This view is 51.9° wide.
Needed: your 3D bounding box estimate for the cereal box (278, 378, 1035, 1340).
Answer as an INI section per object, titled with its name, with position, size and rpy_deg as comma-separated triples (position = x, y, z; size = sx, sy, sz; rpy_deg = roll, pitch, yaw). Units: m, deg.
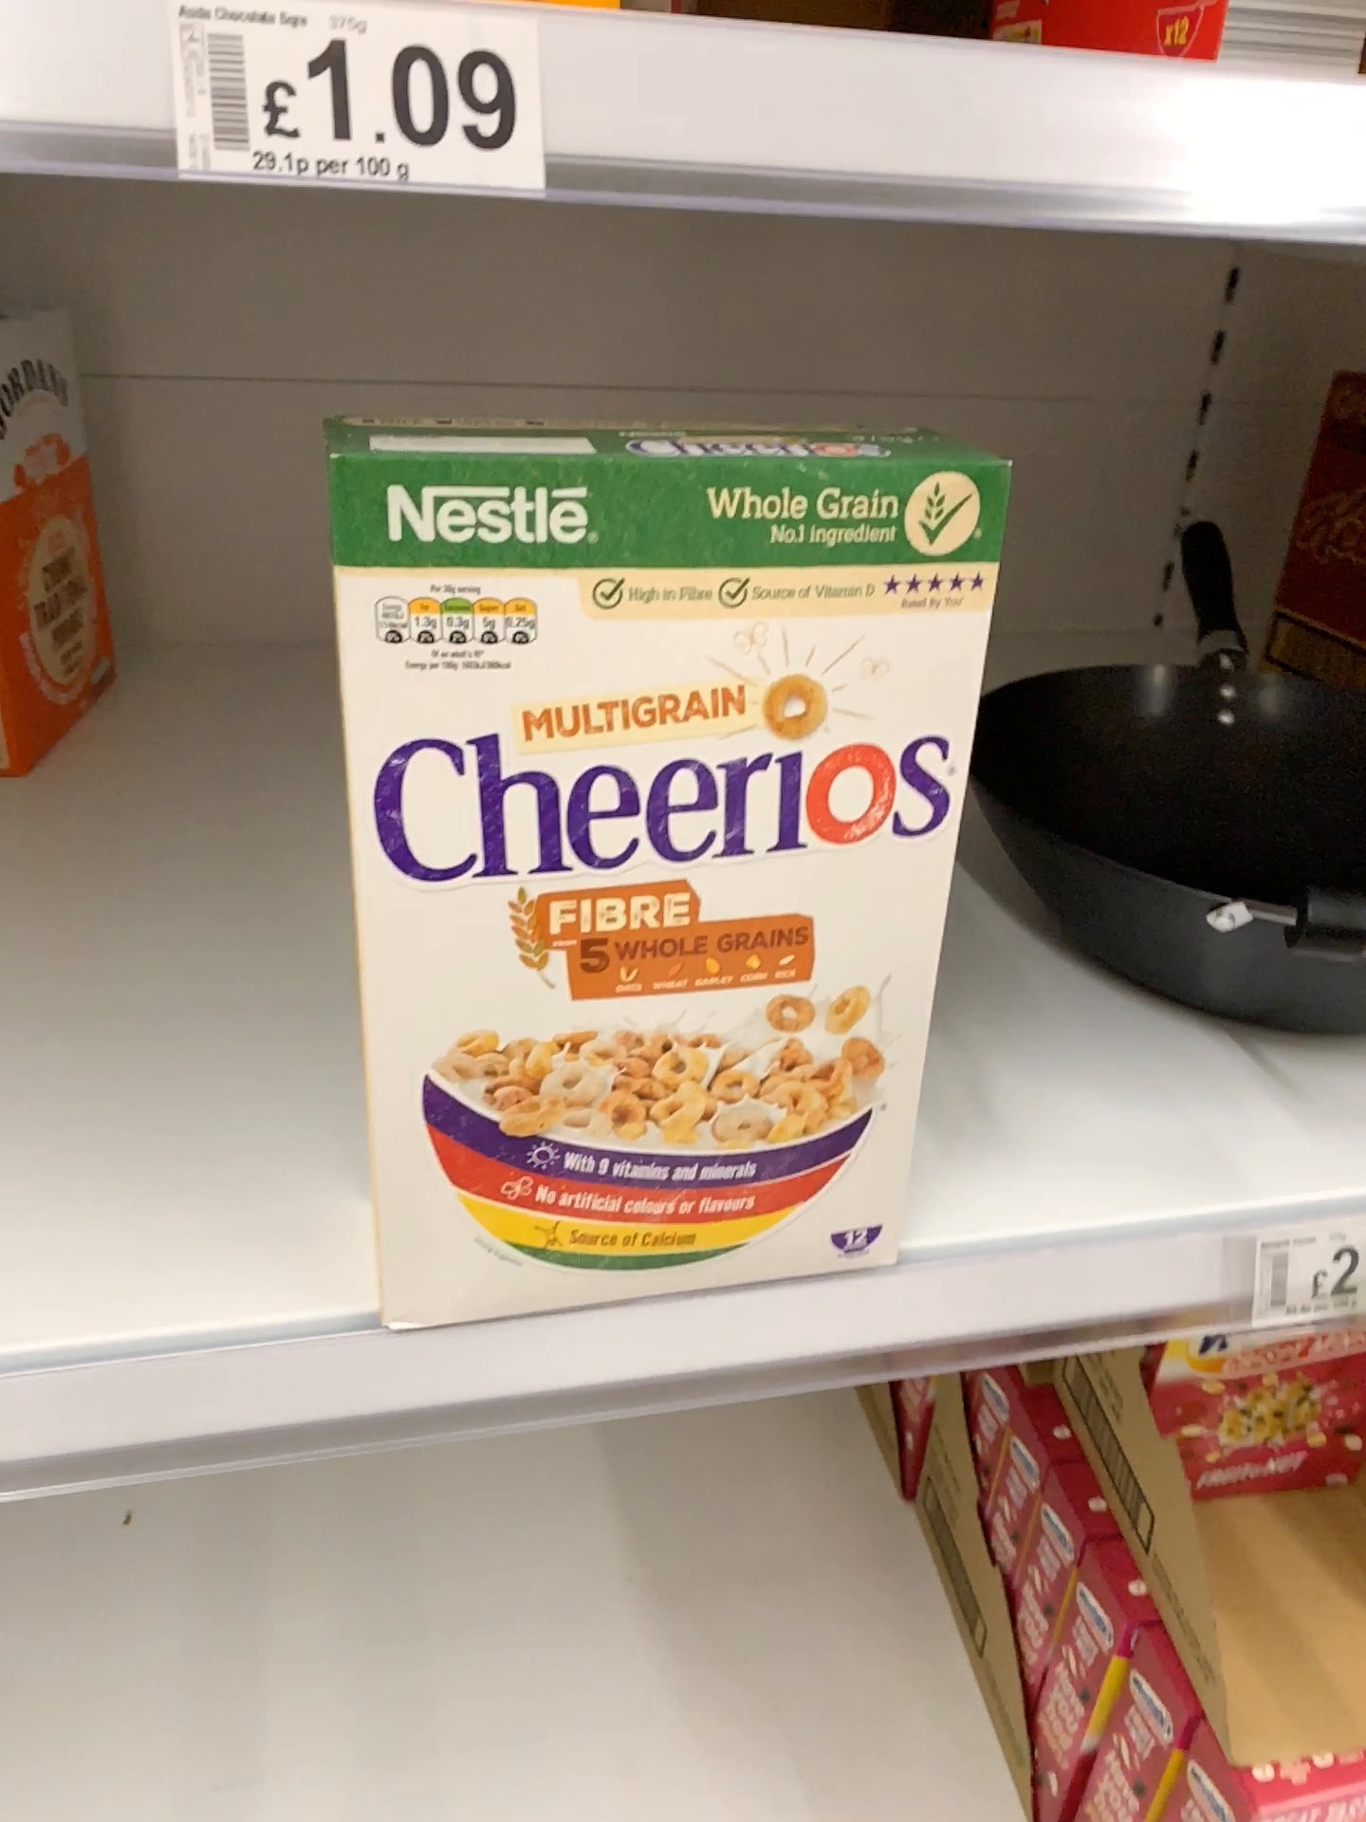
[cereal box]
position = -0.016, -0.012, 0.452
size = 0.200, 0.288, 0.071
rpy_deg = -4, 26, -14
